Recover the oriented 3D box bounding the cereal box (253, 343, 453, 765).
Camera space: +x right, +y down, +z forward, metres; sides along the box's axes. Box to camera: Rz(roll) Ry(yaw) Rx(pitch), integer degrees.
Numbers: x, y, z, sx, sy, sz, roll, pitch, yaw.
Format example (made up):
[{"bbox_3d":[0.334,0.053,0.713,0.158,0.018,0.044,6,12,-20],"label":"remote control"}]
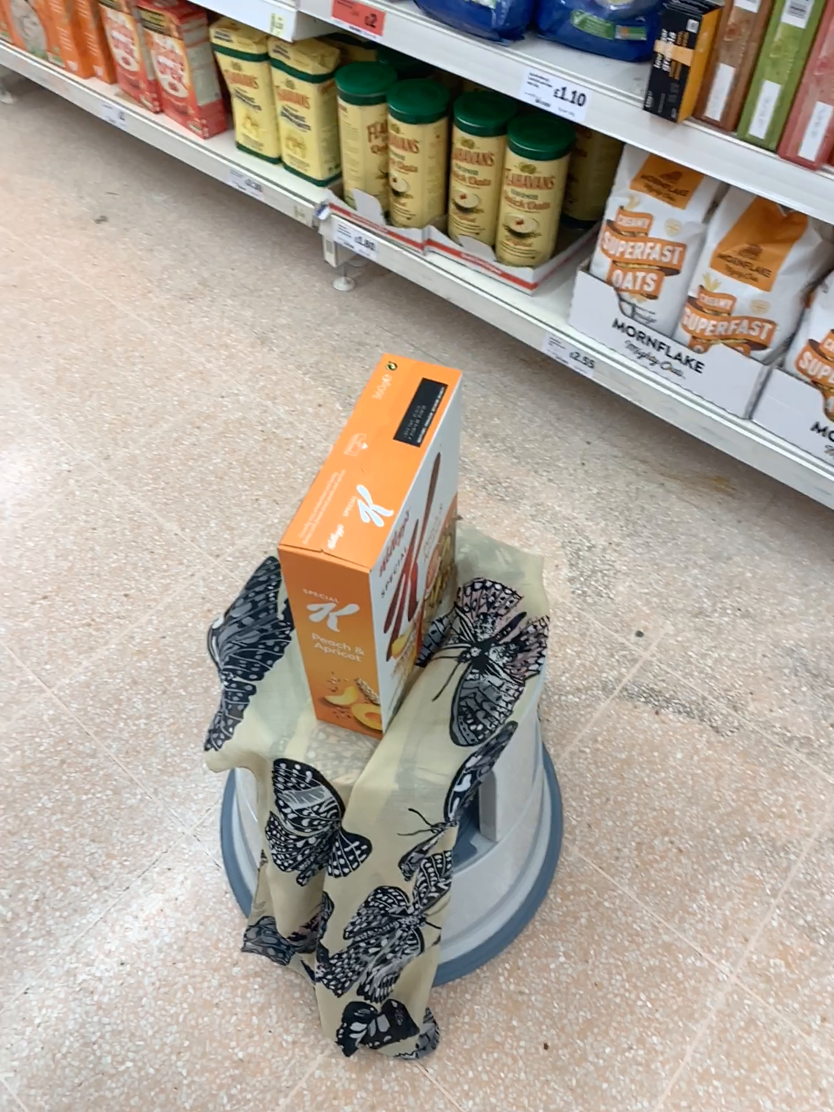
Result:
[{"bbox_3d":[-0.039,0.008,0.675,0.060,0.268,0.212,16,54,11],"label":"cereal box"}]
